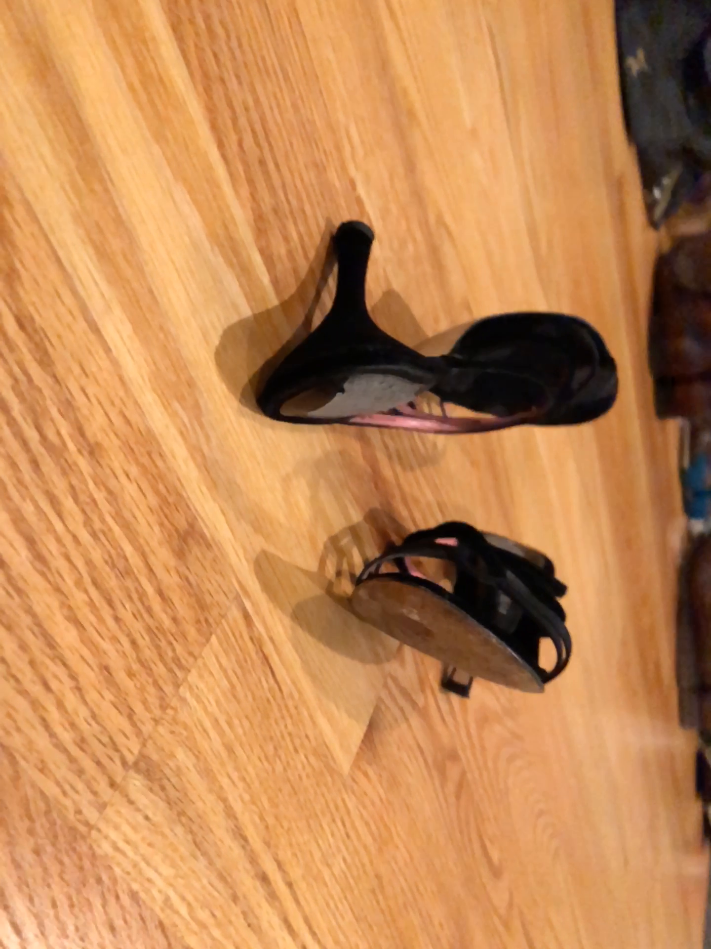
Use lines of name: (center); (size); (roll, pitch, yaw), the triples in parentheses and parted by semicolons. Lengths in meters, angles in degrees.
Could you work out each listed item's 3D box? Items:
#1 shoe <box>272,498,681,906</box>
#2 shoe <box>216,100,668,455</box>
shoe: (0.070, 0.067, 0.338); (0.216, 0.104, 0.102); (-3, 90, -63)
shoe: (0.058, -0.051, 0.323); (0.236, 0.104, 0.082); (-1, 91, -63)
